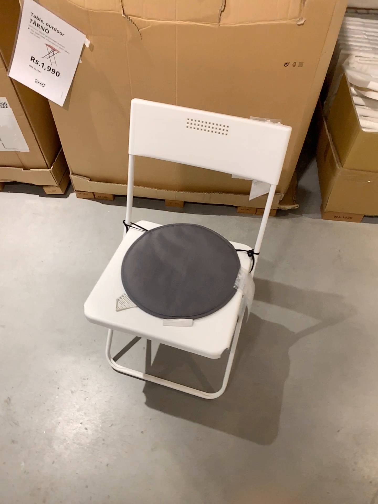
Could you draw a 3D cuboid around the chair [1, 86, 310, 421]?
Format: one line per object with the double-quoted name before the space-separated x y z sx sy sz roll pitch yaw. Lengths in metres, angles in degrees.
"chair" -0.035 0.048 1.073 0.490 0.738 0.481 15 53 10
